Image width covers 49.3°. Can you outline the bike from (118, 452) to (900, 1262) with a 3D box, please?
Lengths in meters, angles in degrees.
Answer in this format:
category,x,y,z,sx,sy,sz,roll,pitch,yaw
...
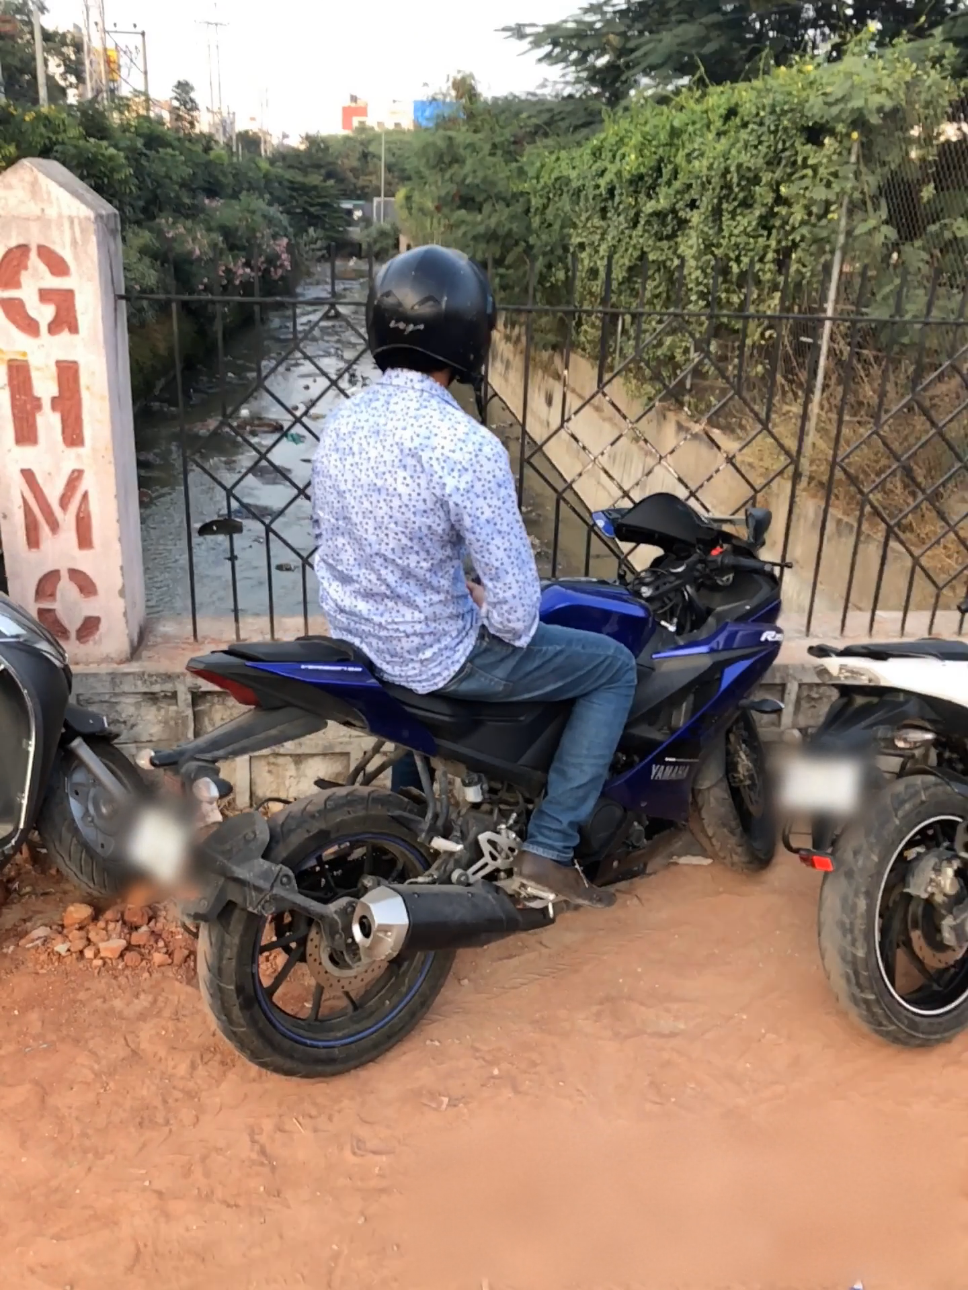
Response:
category,x,y,z,sx,sy,sz,roll,pitch,yaw
bike,0.197,0.248,2.609,0.732,0.995,1.951,20,30,38
